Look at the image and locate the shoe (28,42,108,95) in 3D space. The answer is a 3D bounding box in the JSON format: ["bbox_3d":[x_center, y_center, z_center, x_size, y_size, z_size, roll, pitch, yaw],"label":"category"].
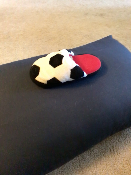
[{"bbox_3d":[0.004,-0.064,0.441,0.213,0.072,0.108,-12,54,-12],"label":"shoe"}]
